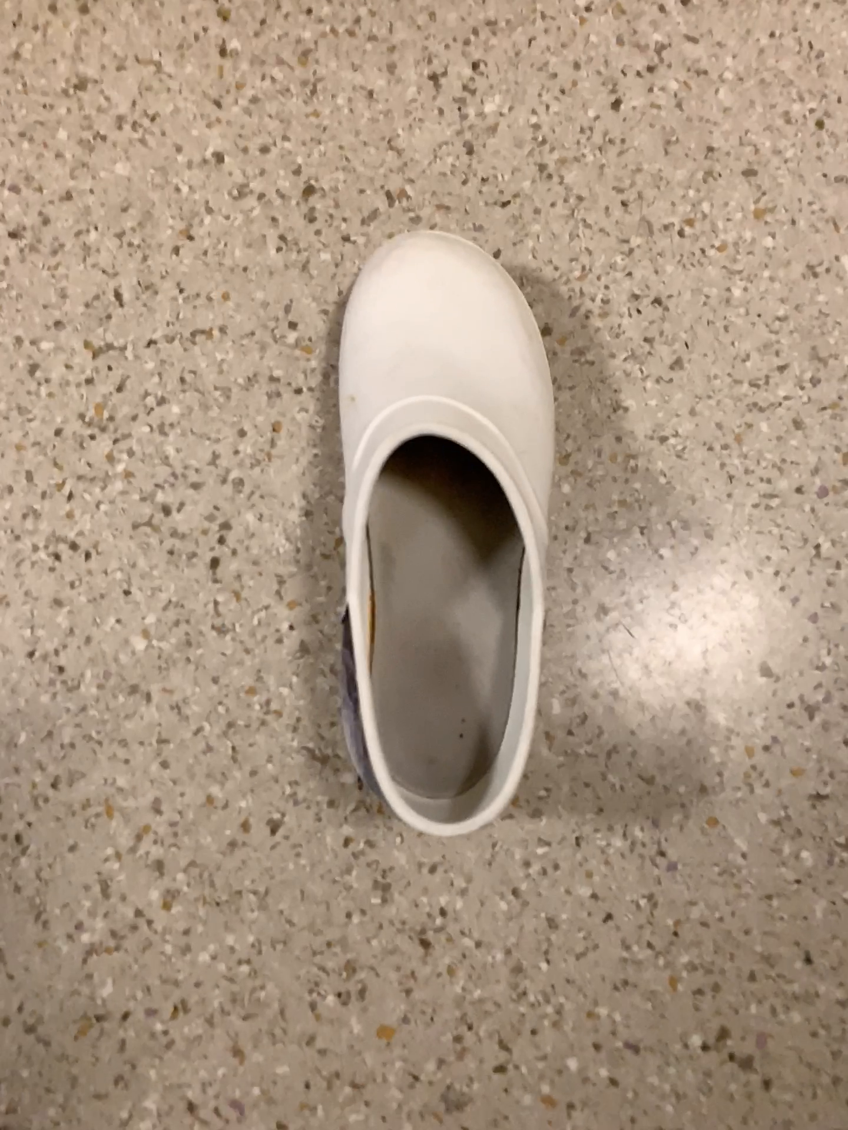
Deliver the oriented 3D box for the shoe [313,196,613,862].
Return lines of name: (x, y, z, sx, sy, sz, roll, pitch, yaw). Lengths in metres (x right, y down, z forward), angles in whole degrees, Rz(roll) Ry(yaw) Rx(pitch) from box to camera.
shoe: (0.016, -0.014, 0.376, 0.107, 0.102, 0.255, 1, 82, 0)
